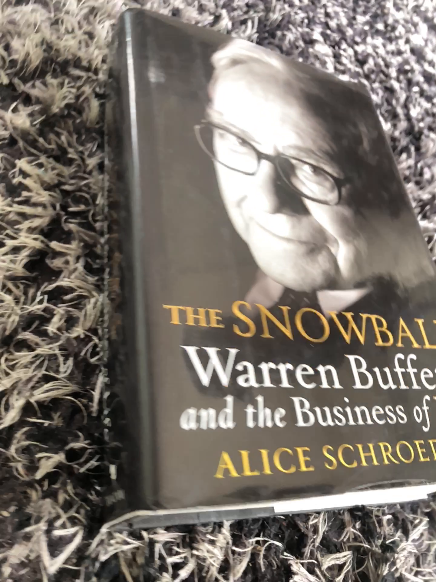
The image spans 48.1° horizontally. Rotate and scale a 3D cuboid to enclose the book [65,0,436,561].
[{"bbox_3d":[0.024,-0.022,0.244,0.181,0.060,0.250,6,59,-26],"label":"book"}]
